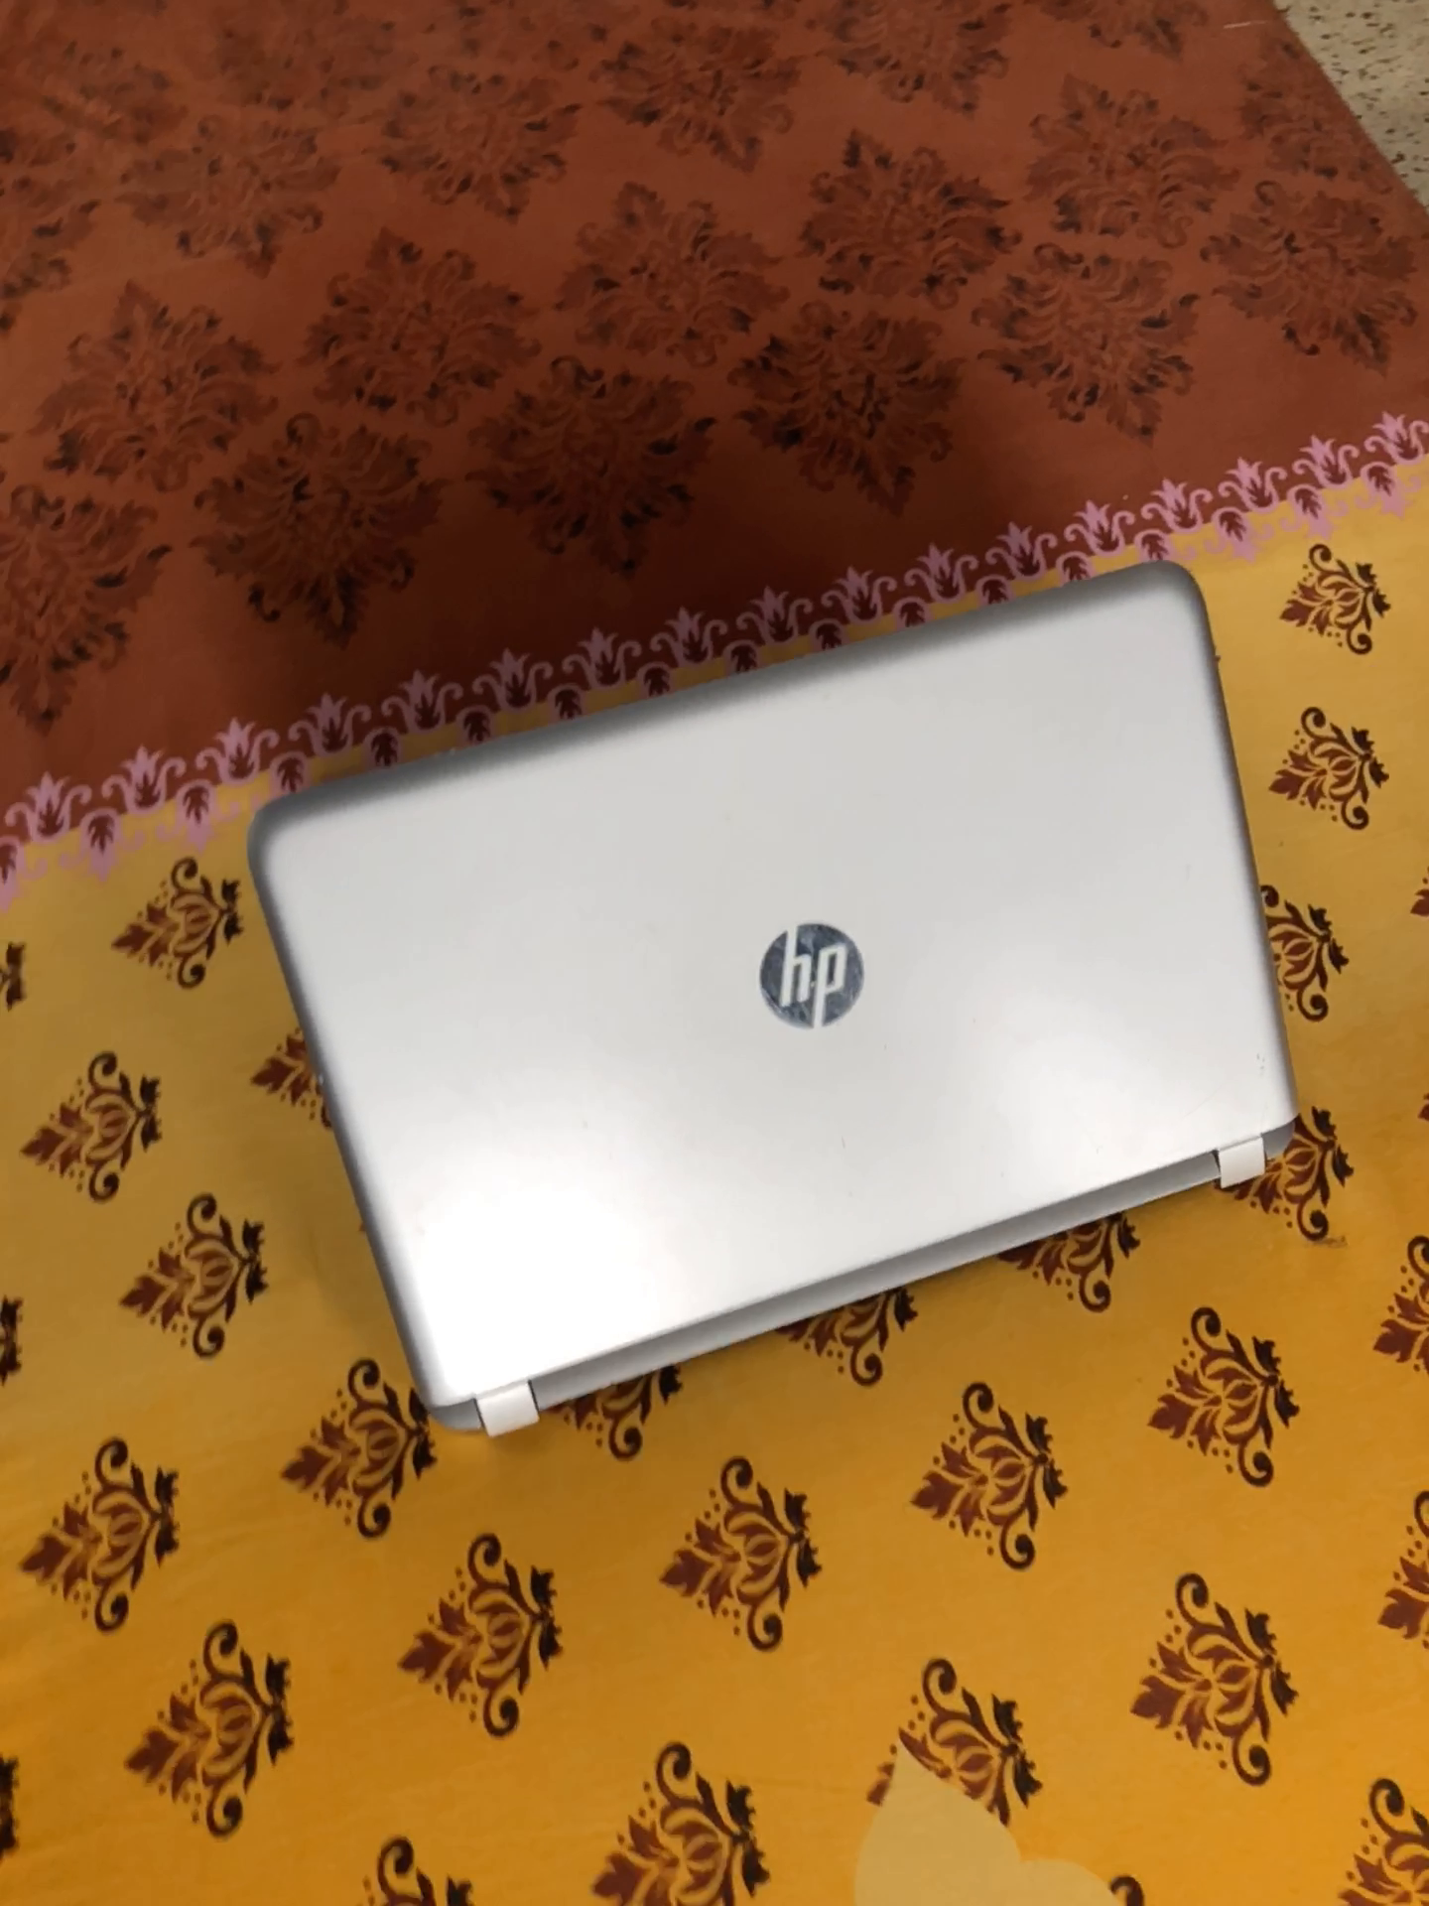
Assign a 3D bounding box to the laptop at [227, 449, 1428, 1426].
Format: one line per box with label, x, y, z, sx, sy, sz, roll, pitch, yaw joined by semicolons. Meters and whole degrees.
laptop;0.031;-0.010;0.633;0.372;0.155;0.249;-17;64;-8
